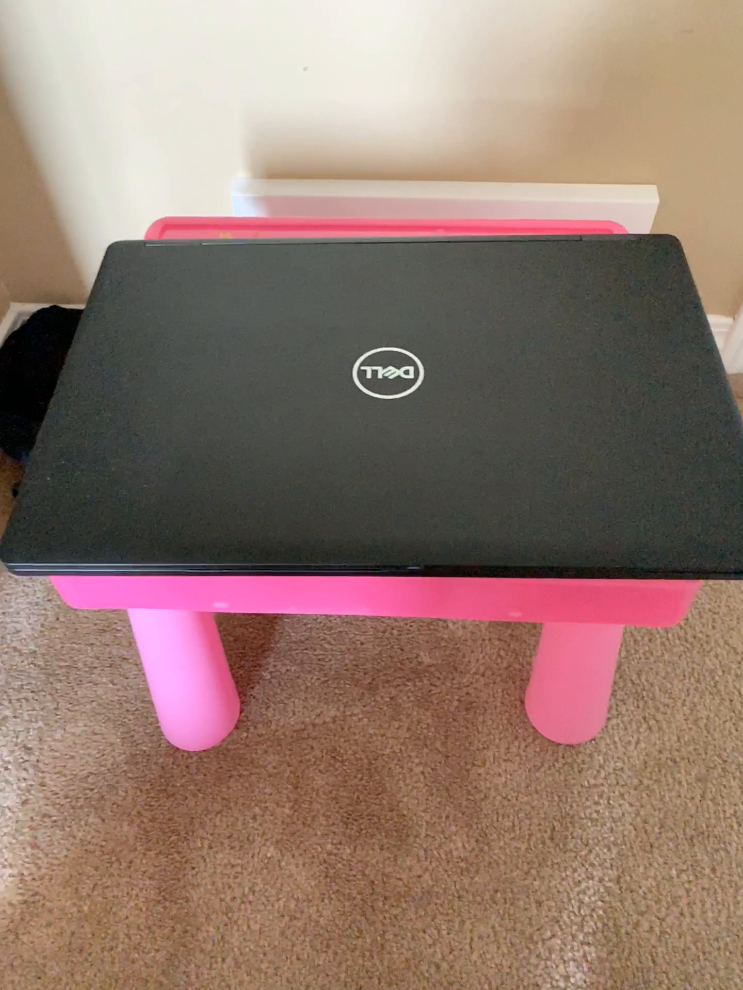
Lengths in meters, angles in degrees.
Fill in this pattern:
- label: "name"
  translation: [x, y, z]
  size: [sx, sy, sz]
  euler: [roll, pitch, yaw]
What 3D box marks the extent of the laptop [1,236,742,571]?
- label: "laptop"
  translation: [0.009, -0.066, 0.425]
  size: [0.366, 0.005, 0.241]
  euler: [0, 55, 2]
